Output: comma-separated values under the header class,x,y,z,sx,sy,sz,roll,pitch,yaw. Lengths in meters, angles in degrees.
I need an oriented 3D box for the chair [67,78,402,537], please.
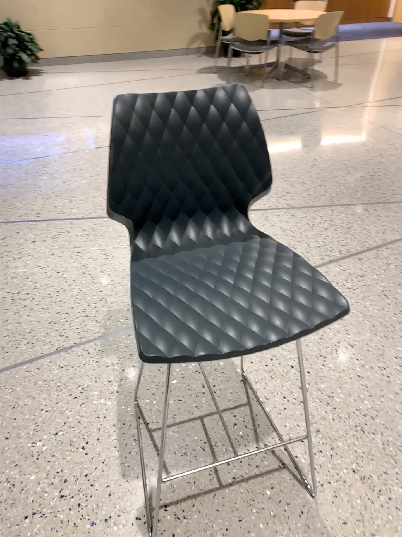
class,x,y,z,sx,sy,sz,roll,pitch,yaw
chair,0.045,0.145,1.011,0.534,0.995,0.536,-9,37,-12
